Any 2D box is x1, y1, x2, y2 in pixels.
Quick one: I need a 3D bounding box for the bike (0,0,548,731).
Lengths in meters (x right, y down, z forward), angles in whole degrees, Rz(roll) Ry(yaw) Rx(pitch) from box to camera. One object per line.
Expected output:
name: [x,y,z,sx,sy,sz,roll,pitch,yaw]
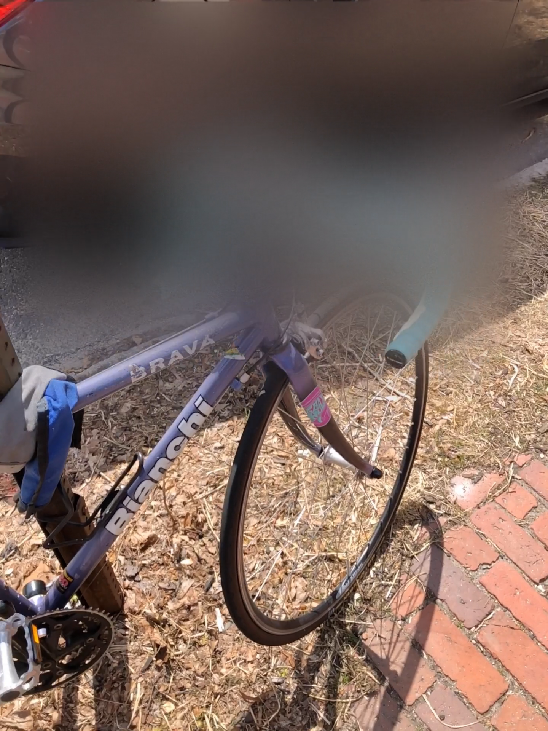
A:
bike: [-0.362,0.138,0.809,1.451,0.735,0.461,-24,51,-18]
